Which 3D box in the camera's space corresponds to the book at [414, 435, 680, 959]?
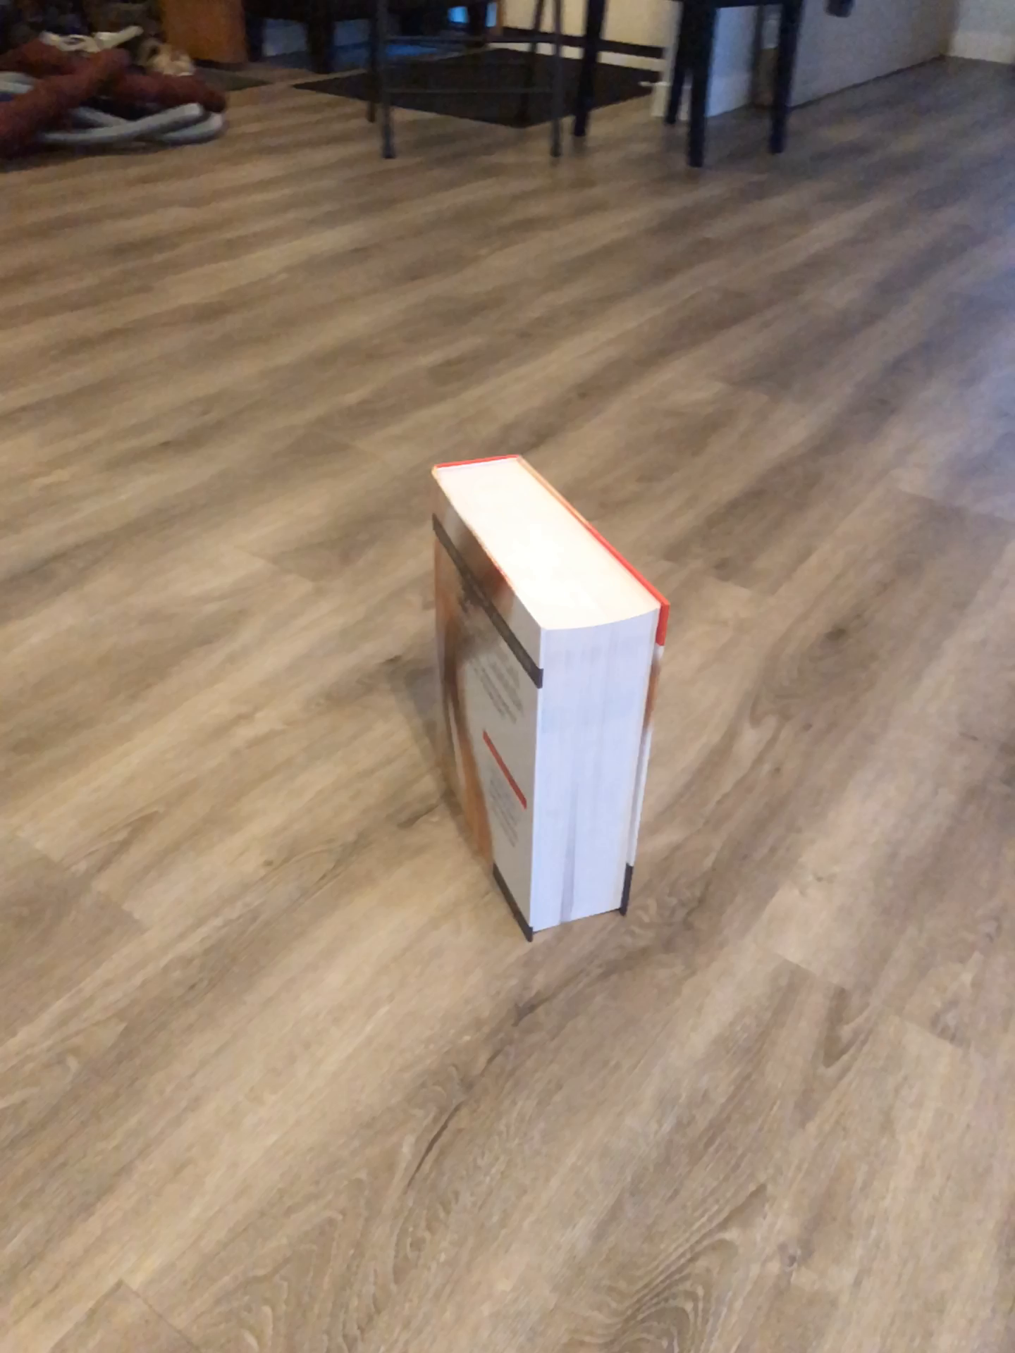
[{"bbox_3d":[0.014,0.011,0.825,0.087,0.290,0.241,-13,39,-18],"label":"book"}]
